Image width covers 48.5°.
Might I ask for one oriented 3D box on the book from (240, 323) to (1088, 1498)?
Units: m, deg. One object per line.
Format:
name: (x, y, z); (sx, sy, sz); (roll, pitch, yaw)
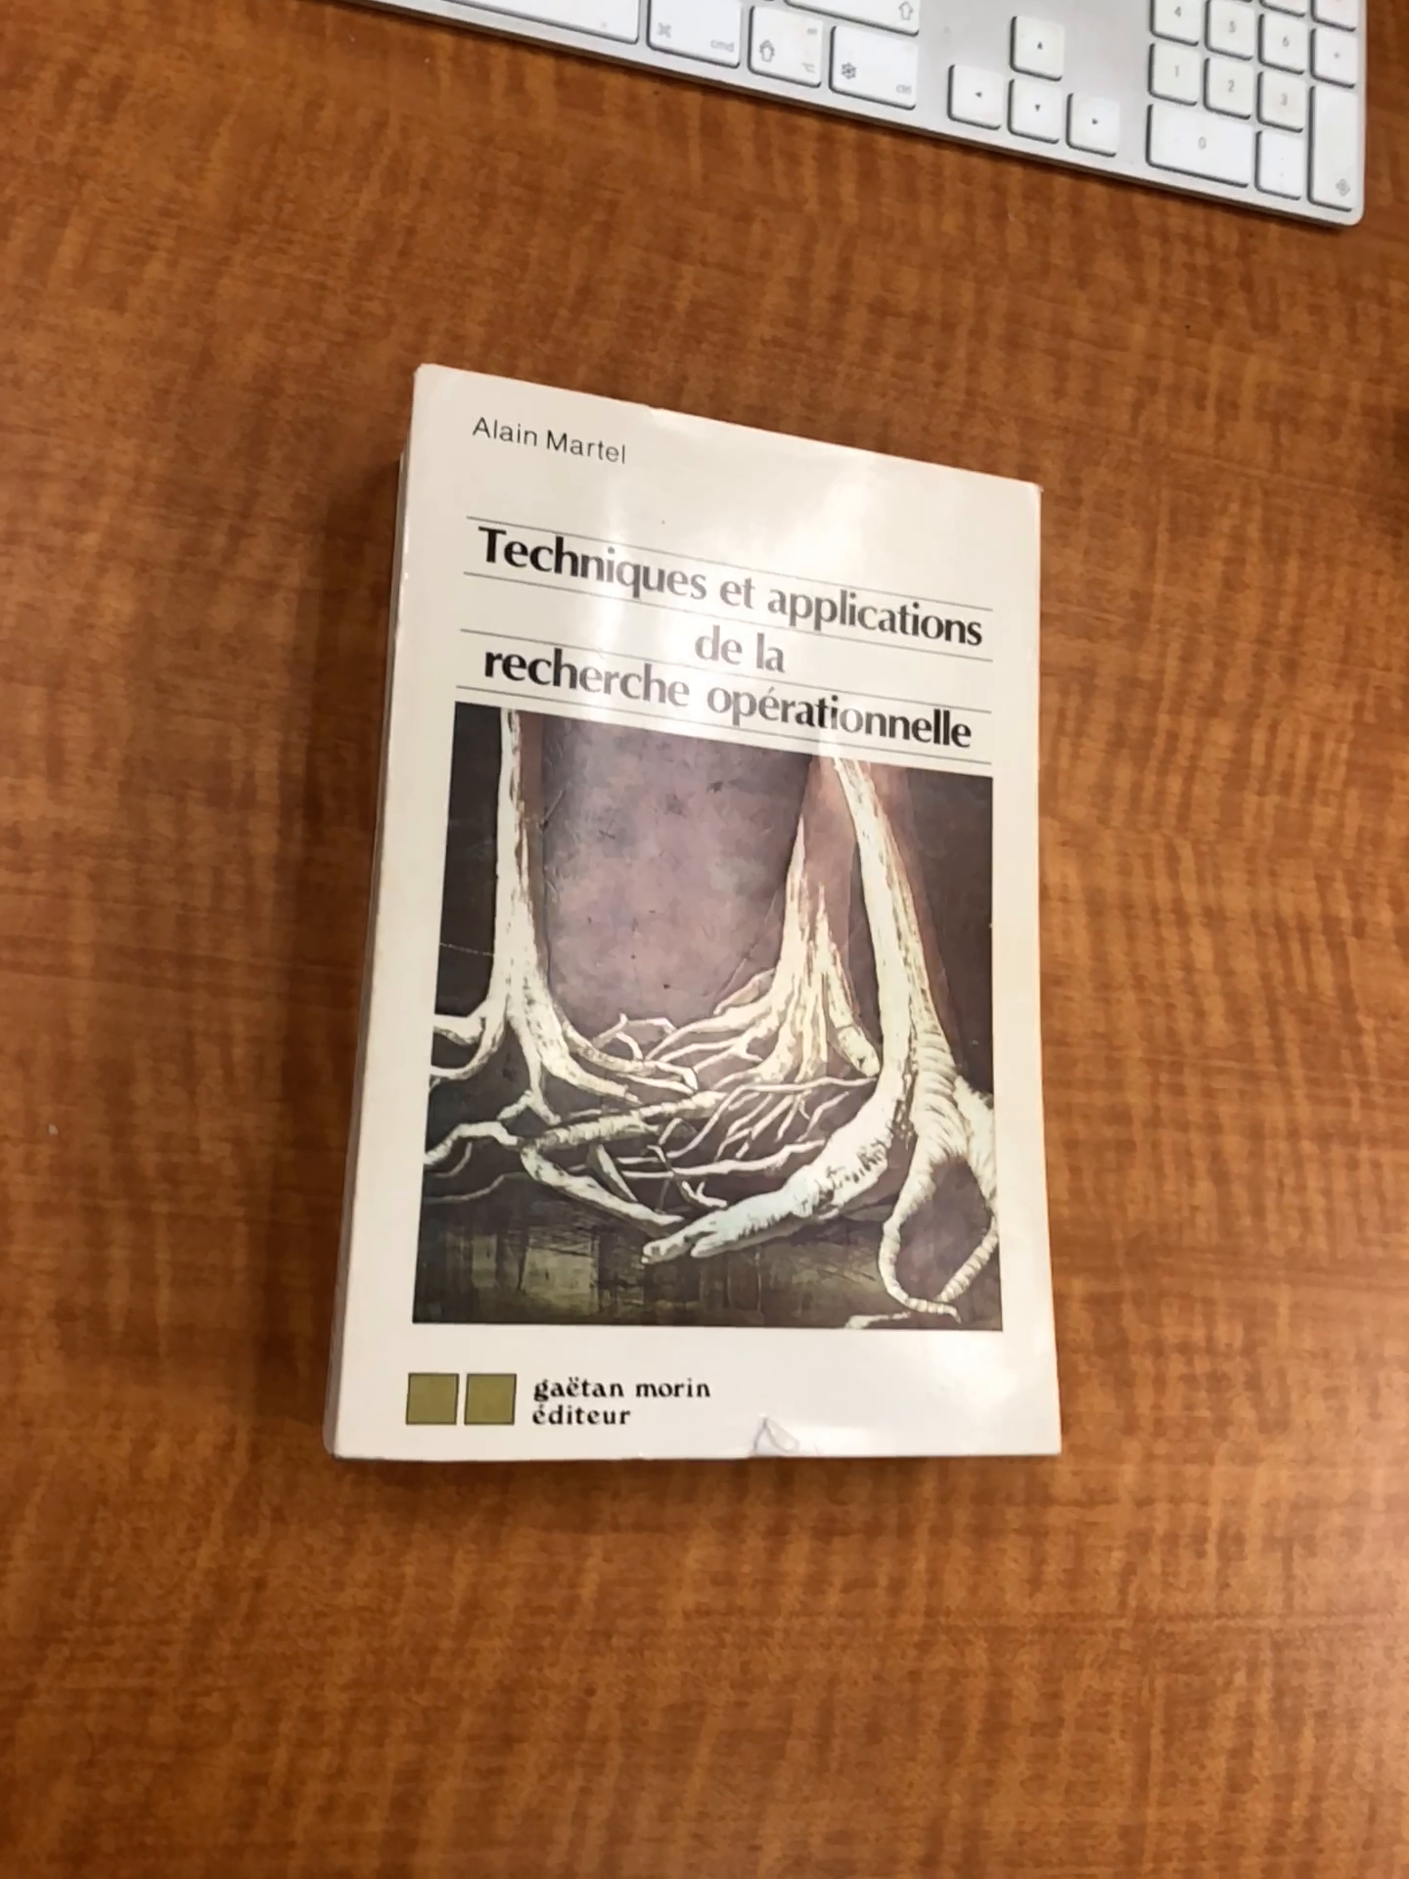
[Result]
book: (-0.007, 0.000, 0.358); (0.170, 0.070, 0.230); (5, 79, -17)
